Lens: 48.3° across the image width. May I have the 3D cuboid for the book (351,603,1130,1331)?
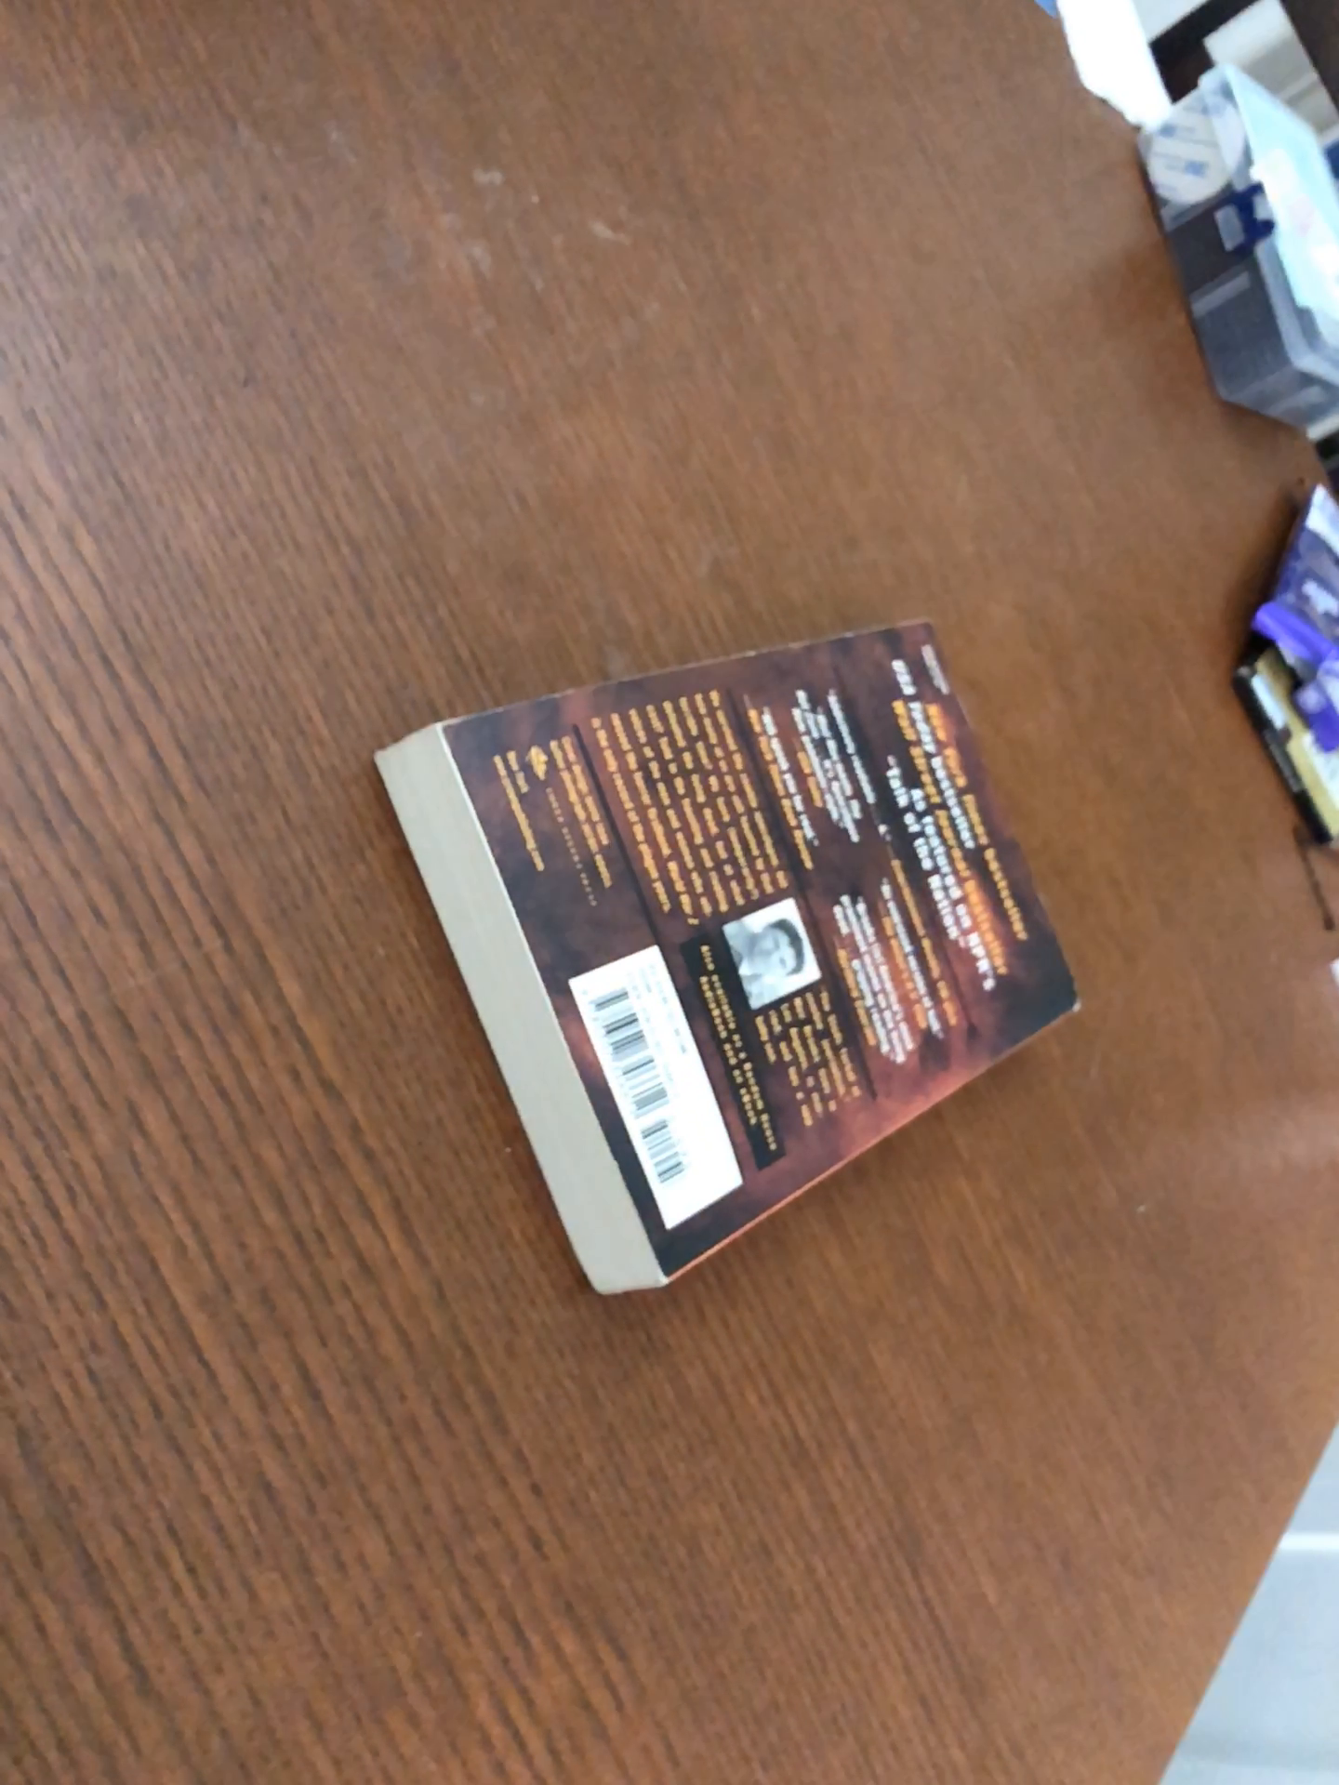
[{"bbox_3d":[0.036,0.002,0.400,0.221,0.030,0.140,-19,86,-46],"label":"book"}]
